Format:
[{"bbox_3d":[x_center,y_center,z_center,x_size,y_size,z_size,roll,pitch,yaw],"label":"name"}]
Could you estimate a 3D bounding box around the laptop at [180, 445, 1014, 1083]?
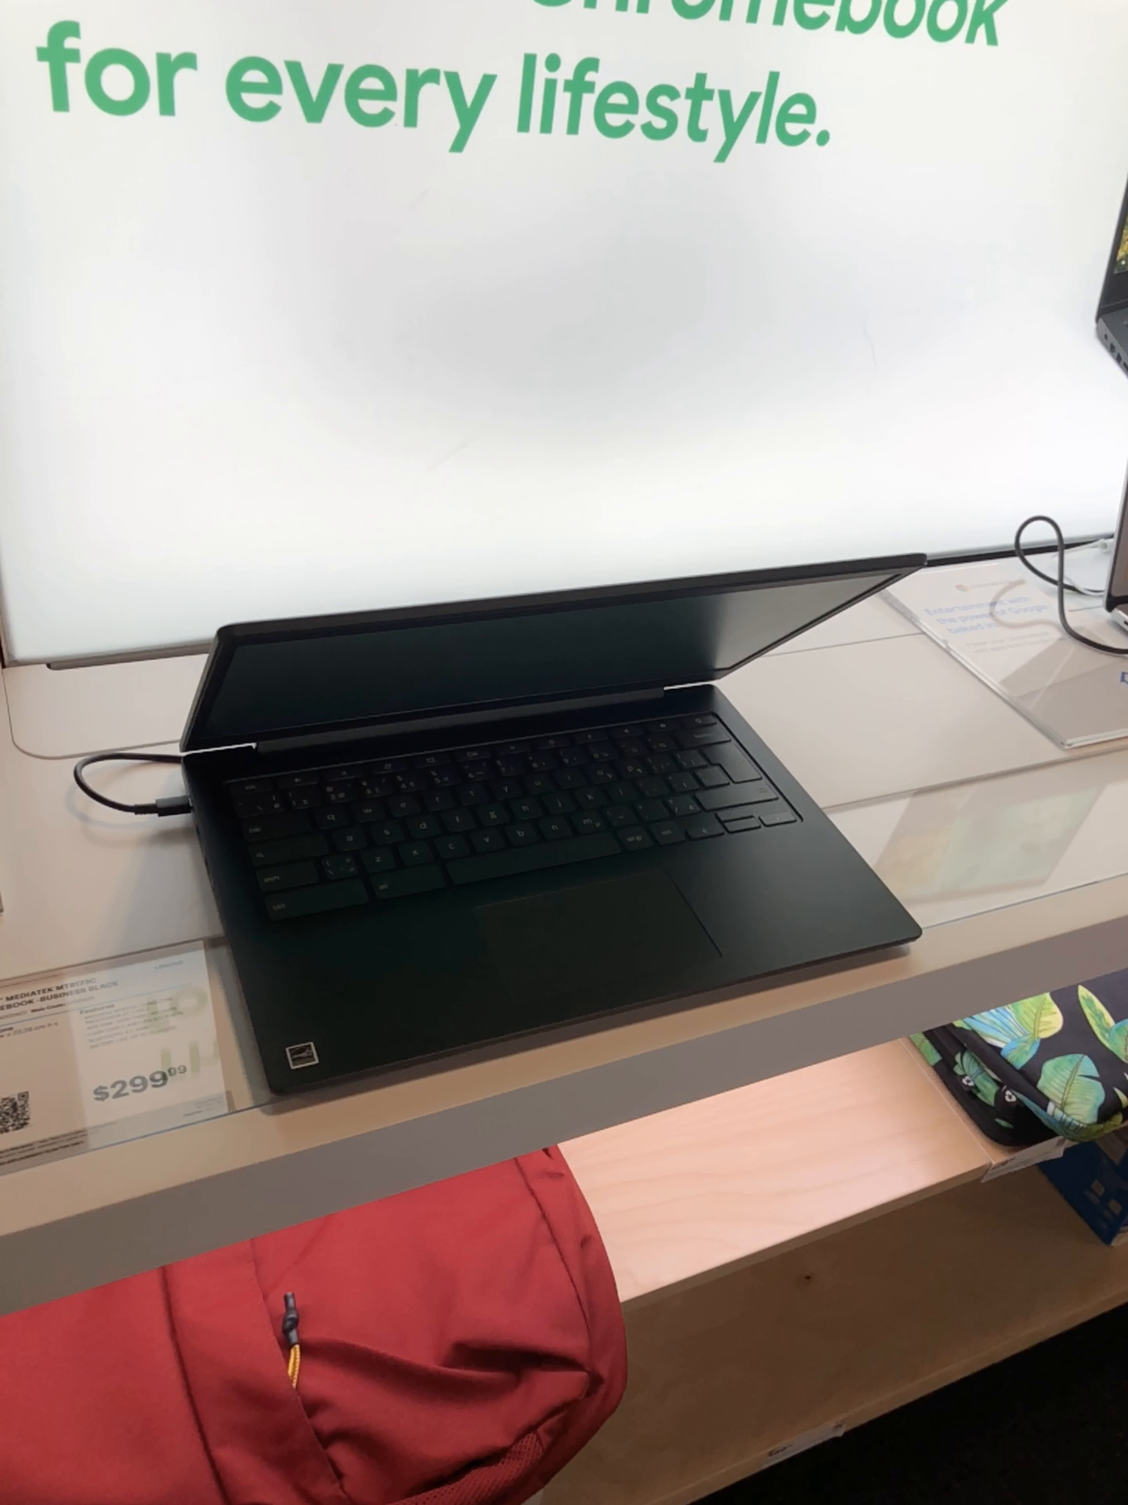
[{"bbox_3d":[-0.002,-0.017,0.583,0.307,0.157,0.214,-9,41,-21],"label":"laptop"}]
